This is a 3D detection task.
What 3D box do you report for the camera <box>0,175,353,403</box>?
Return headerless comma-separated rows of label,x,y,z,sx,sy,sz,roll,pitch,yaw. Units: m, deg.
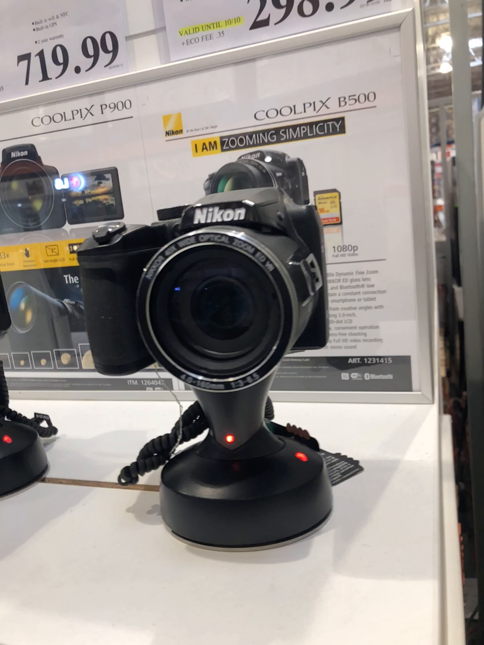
camera,-0.020,-0.018,0.230,0.120,0.070,0.100,-3,12,17
